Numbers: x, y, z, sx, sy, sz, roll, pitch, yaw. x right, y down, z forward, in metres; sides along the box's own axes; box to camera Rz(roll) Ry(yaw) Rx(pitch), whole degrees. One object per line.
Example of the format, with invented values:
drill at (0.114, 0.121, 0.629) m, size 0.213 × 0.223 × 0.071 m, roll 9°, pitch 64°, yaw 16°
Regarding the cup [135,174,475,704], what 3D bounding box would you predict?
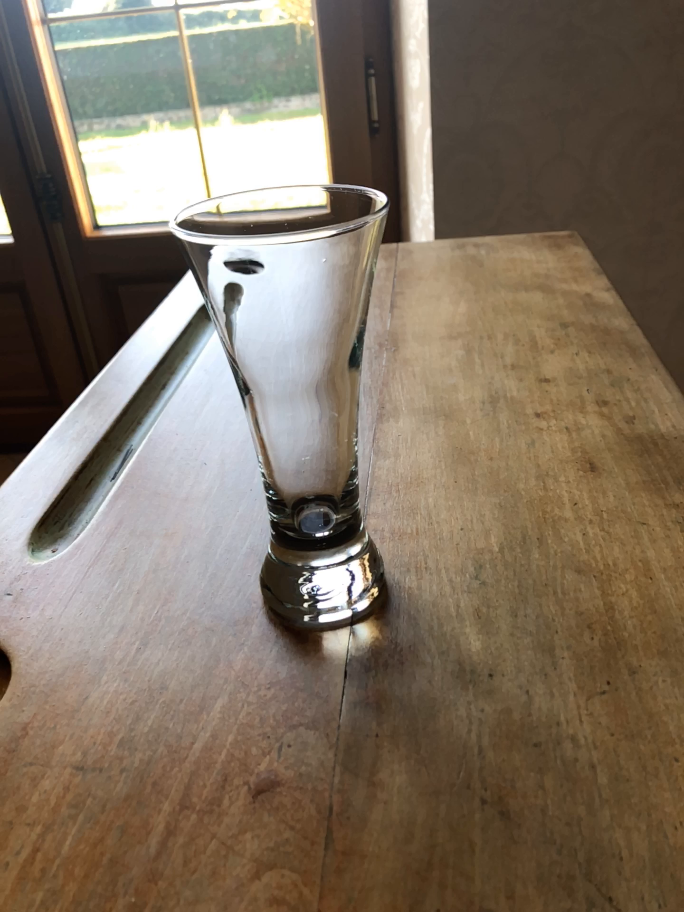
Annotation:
cup at (-0.008, -0.009, 0.260) m, size 0.070 × 0.149 × 0.080 m, roll -21°, pitch 33°, yaw -25°
